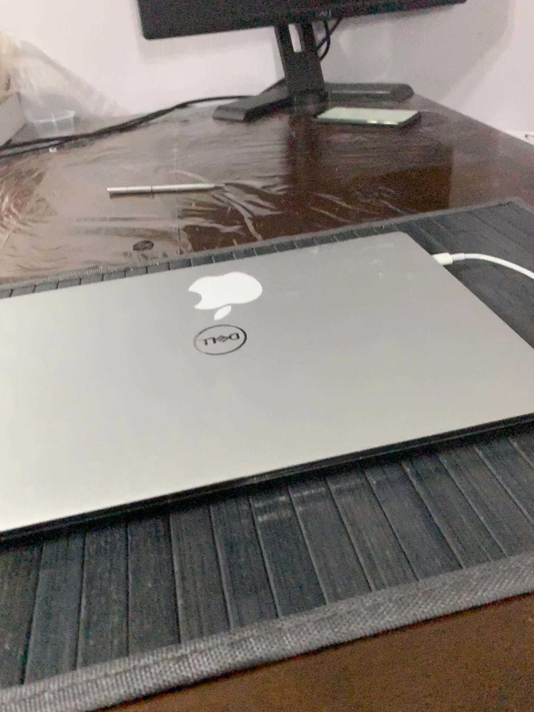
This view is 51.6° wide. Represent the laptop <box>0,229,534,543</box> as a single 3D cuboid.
[{"bbox_3d":[-0.016,-0.011,0.291,0.271,0.001,0.189,-11,35,-7],"label":"laptop"}]
